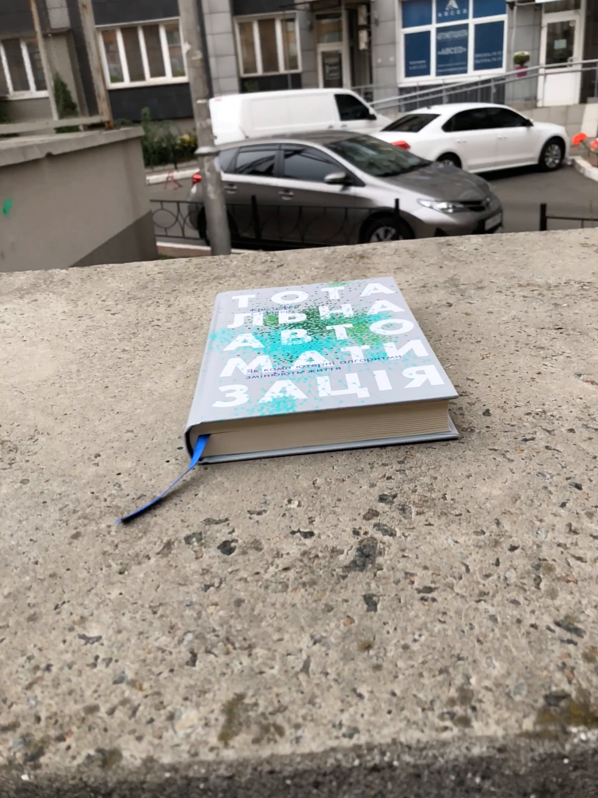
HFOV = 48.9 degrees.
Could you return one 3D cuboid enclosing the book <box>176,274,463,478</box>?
[{"bbox_3d":[0.006,-0.030,0.446,0.150,0.030,0.222,-5,28,-1],"label":"book"}]
